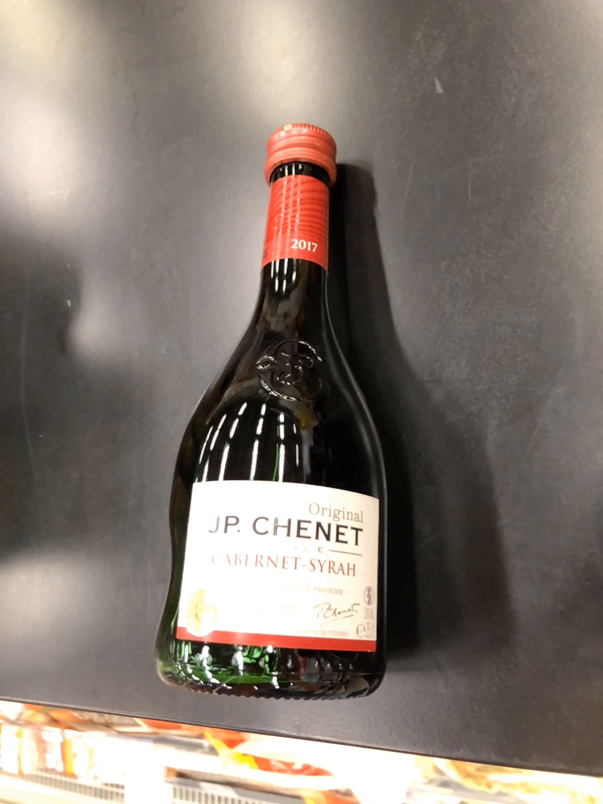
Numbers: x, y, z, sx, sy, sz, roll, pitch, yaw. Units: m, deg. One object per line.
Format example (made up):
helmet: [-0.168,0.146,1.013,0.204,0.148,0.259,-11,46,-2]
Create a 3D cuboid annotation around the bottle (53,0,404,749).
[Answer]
bottle: [-0.015,-0.017,0.202,0.070,0.060,0.200,-7,74,29]
